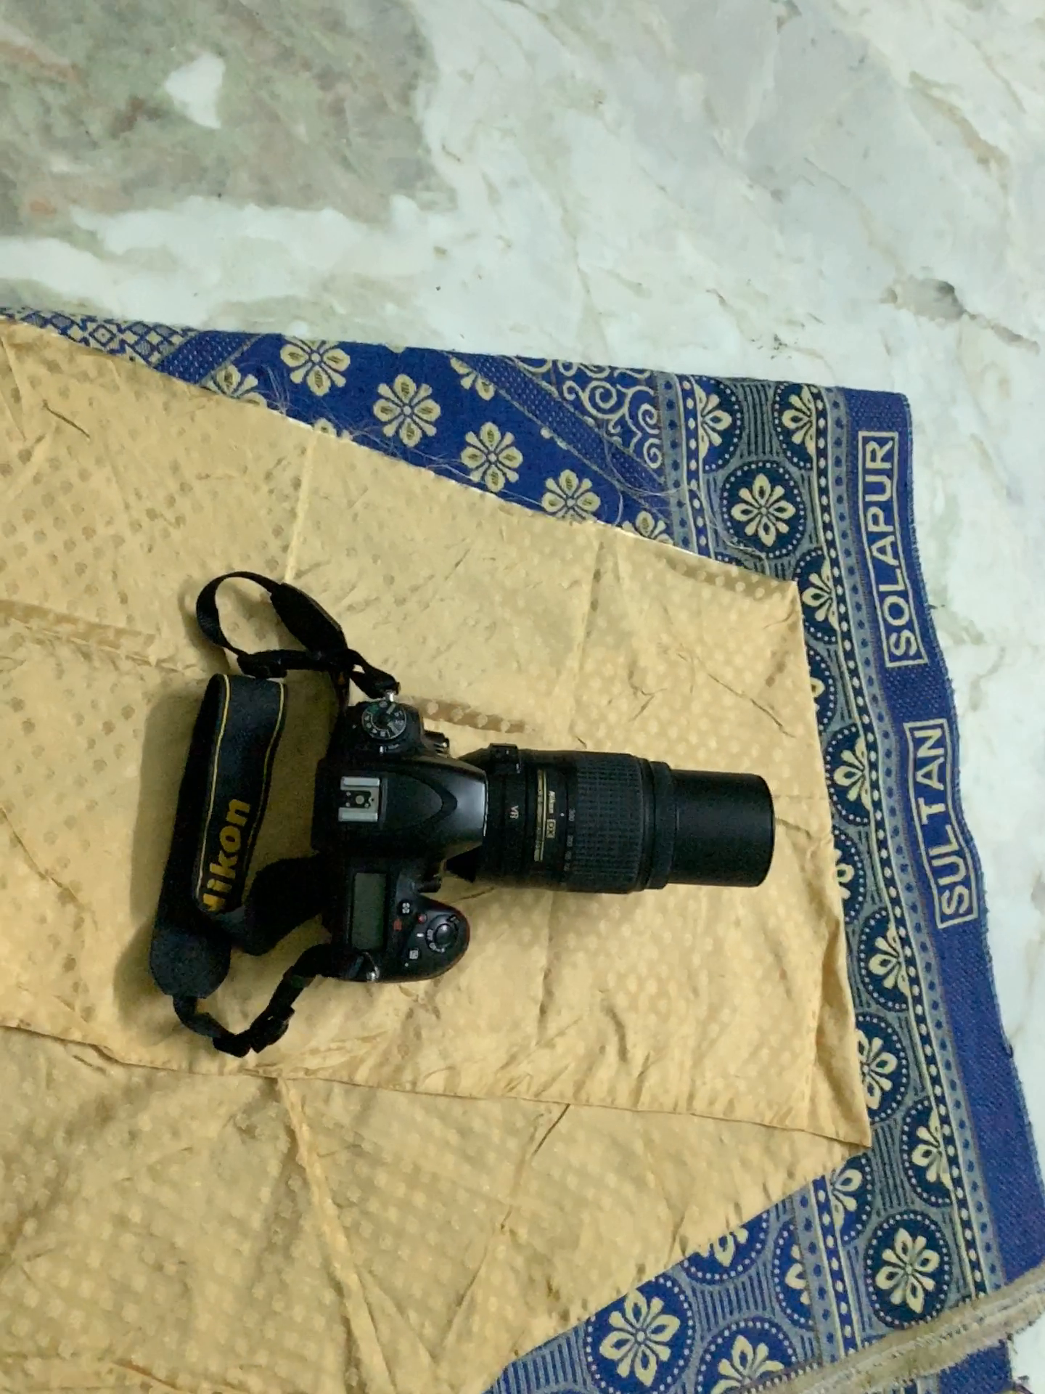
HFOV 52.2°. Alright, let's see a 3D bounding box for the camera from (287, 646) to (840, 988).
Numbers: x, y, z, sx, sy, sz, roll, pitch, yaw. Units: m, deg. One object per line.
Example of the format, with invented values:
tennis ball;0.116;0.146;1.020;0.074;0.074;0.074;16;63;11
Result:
camera;0.008;0.071;0.554;0.240;0.180;0.140;3;78;-10
